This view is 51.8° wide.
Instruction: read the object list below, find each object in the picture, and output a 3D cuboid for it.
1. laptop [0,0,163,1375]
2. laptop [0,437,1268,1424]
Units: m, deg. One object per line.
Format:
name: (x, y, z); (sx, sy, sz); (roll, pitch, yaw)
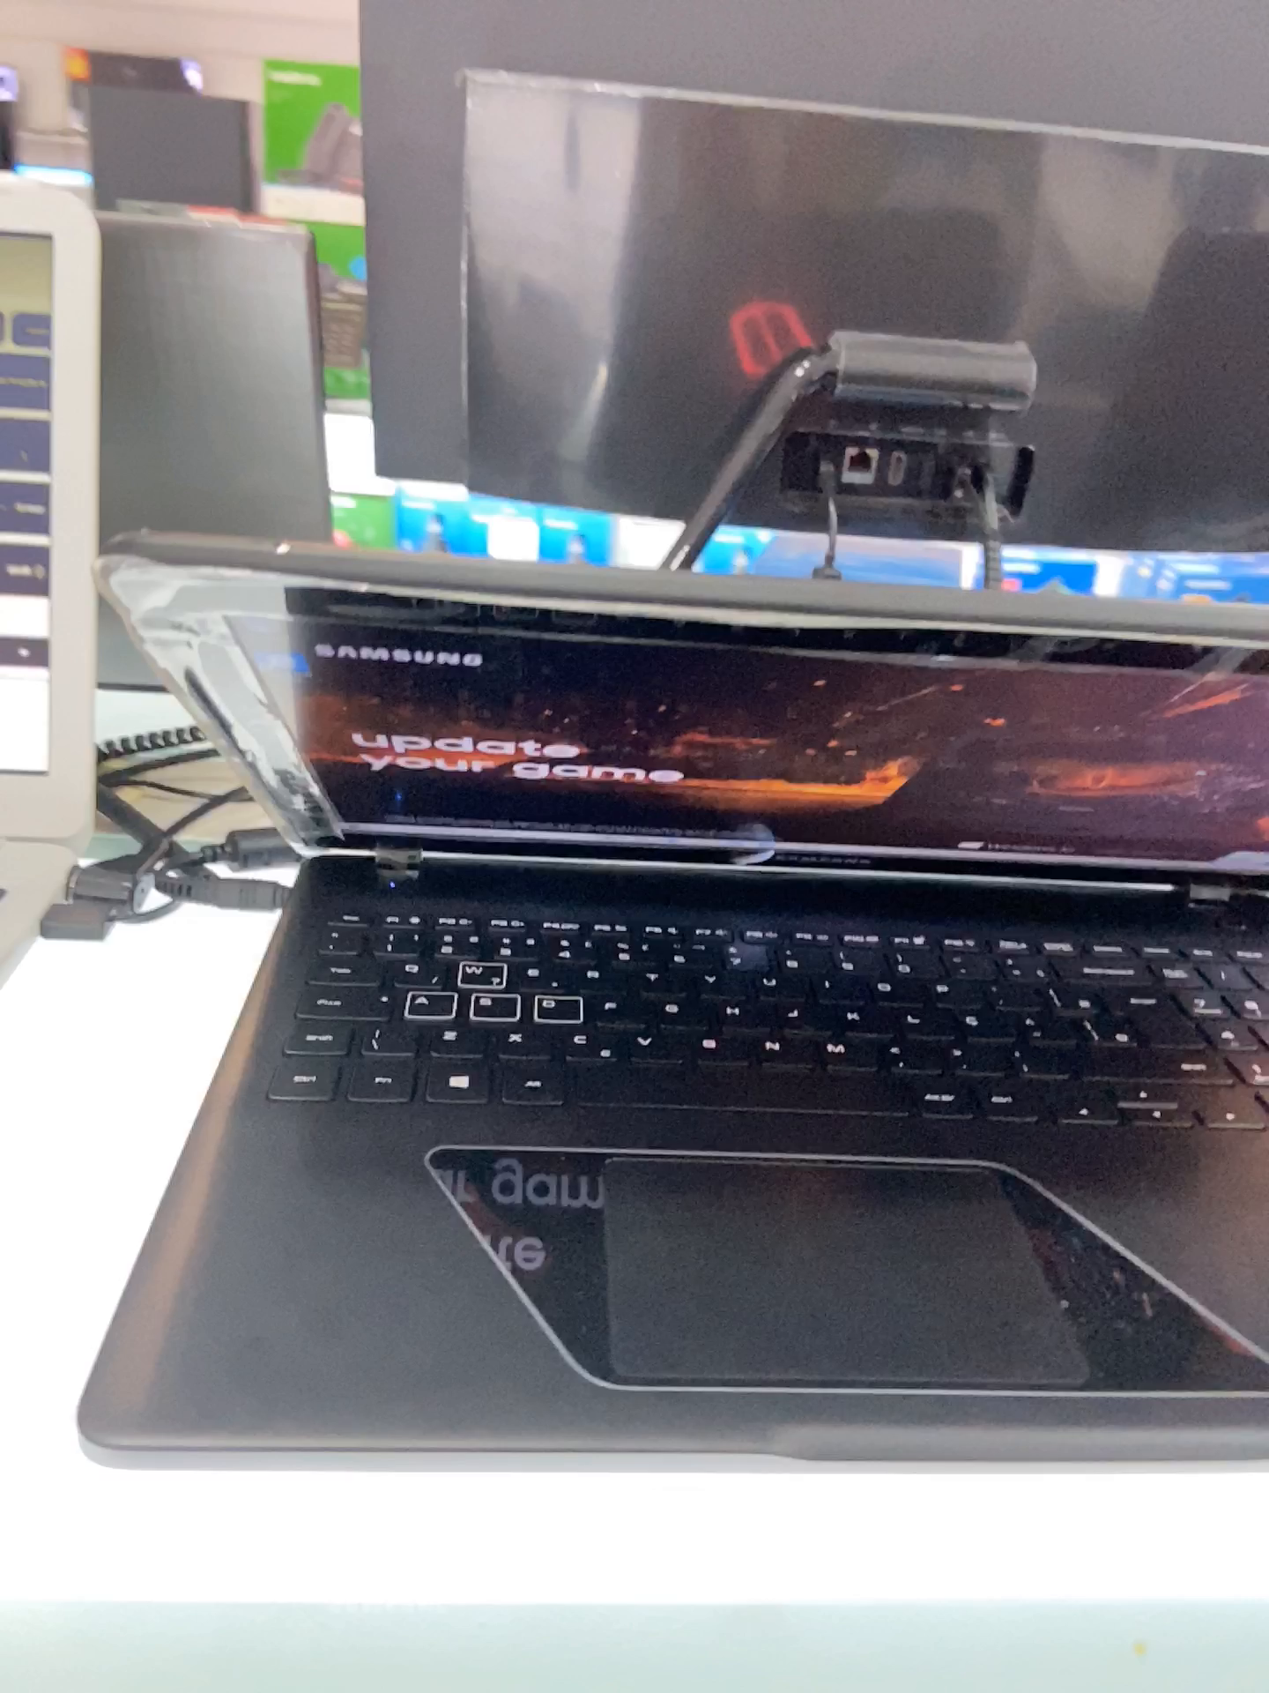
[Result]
laptop: (-0.403, -0.081, 0.353); (0.431, 0.224, 0.346); (1, 24, -5)
laptop: (0.079, -0.006, 0.350); (0.367, 0.152, 0.259); (2, 22, -4)
